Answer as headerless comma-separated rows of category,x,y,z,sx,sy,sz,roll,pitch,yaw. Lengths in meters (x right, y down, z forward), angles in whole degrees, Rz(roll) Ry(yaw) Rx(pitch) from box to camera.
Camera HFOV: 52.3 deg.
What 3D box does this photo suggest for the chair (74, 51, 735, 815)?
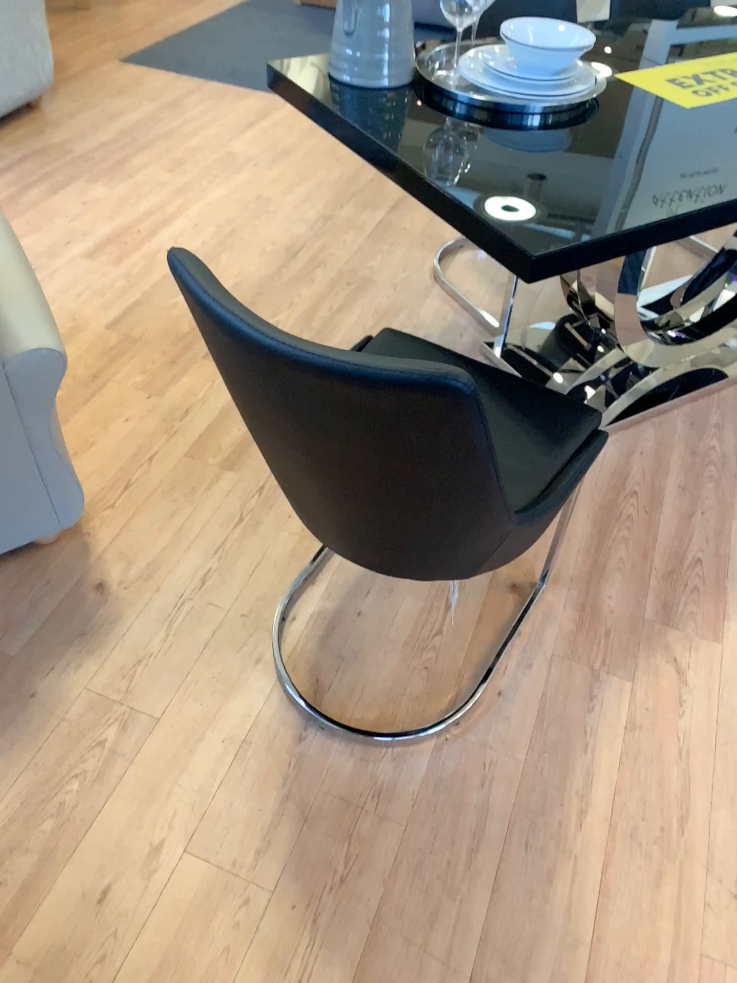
chair,0.073,-0.086,1.127,0.507,0.812,0.634,24,48,19
